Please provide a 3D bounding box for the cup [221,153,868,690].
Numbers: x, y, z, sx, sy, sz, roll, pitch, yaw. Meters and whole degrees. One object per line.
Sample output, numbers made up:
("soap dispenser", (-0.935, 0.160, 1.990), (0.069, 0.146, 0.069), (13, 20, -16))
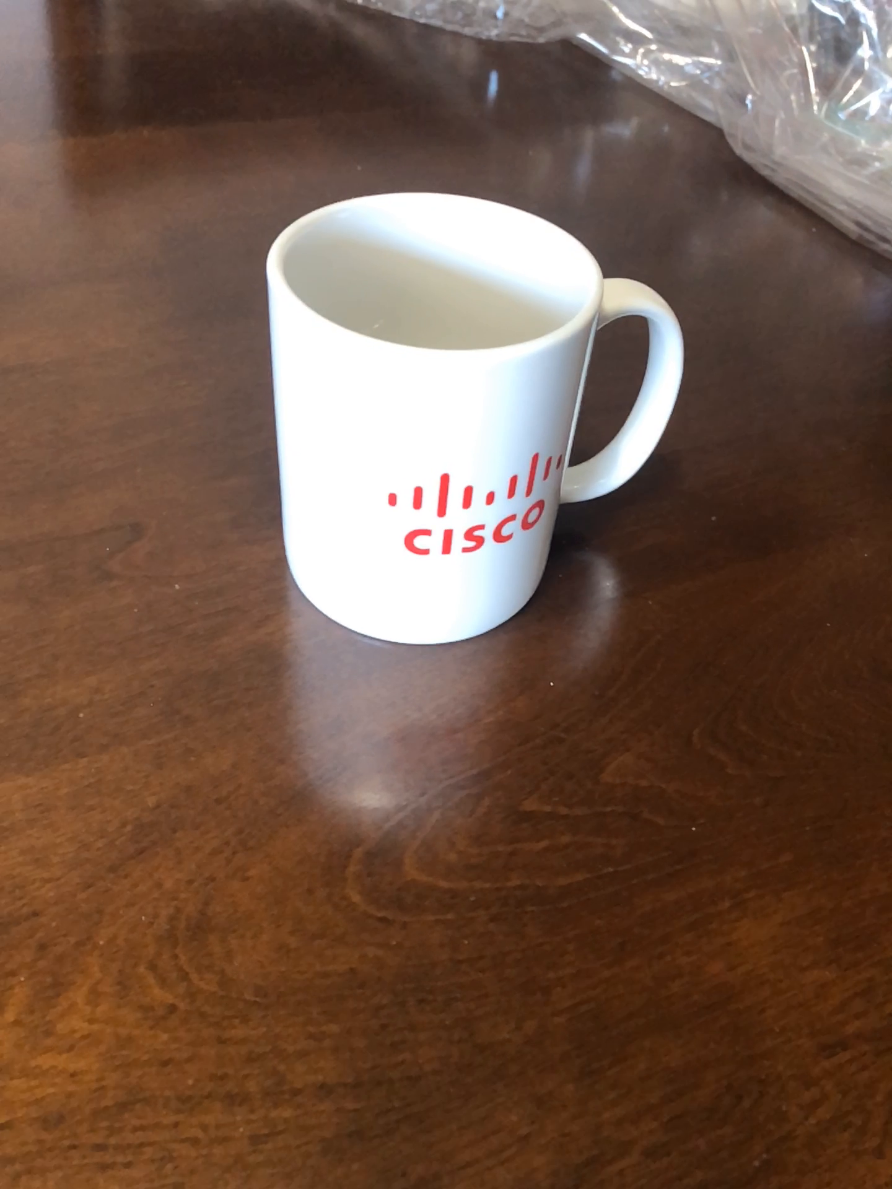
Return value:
("cup", (0.019, -0.050, 0.265), (0.130, 0.090, 0.080), (-15, 48, -20))
